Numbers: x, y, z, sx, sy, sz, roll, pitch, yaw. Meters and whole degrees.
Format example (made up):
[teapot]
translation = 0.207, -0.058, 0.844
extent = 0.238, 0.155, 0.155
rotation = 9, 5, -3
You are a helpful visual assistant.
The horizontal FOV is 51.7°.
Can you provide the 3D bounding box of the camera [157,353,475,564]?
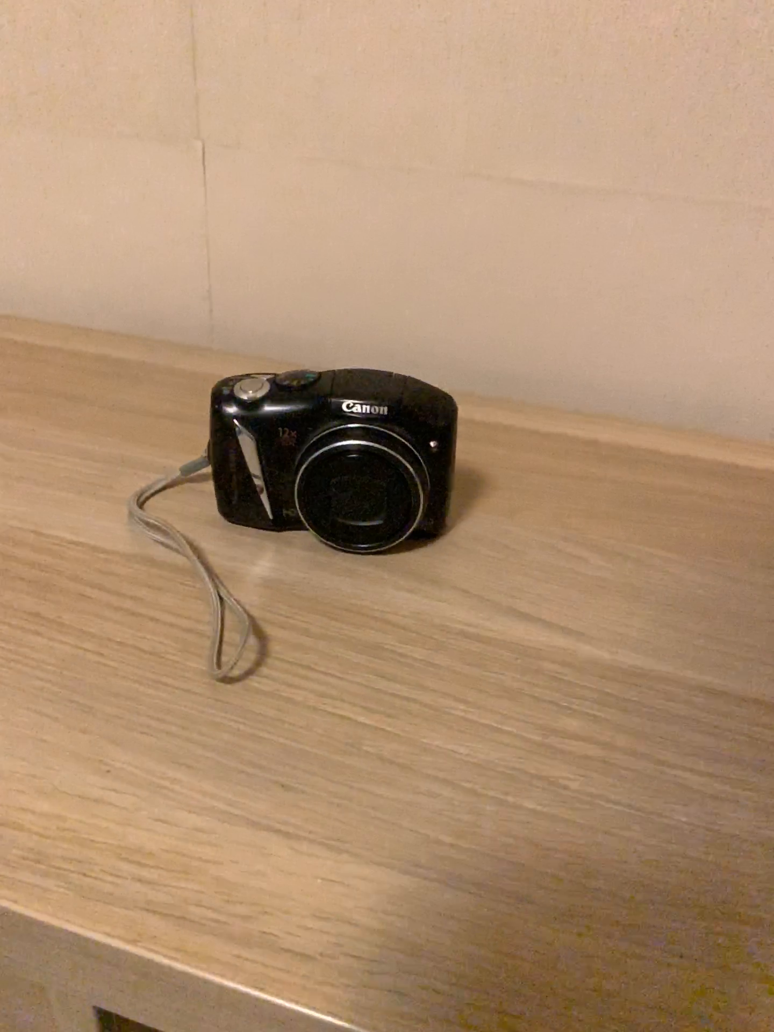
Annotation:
[camera]
translation = -0.028, -0.027, 0.346
extent = 0.120, 0.059, 0.069
rotation = 3, 30, -1
